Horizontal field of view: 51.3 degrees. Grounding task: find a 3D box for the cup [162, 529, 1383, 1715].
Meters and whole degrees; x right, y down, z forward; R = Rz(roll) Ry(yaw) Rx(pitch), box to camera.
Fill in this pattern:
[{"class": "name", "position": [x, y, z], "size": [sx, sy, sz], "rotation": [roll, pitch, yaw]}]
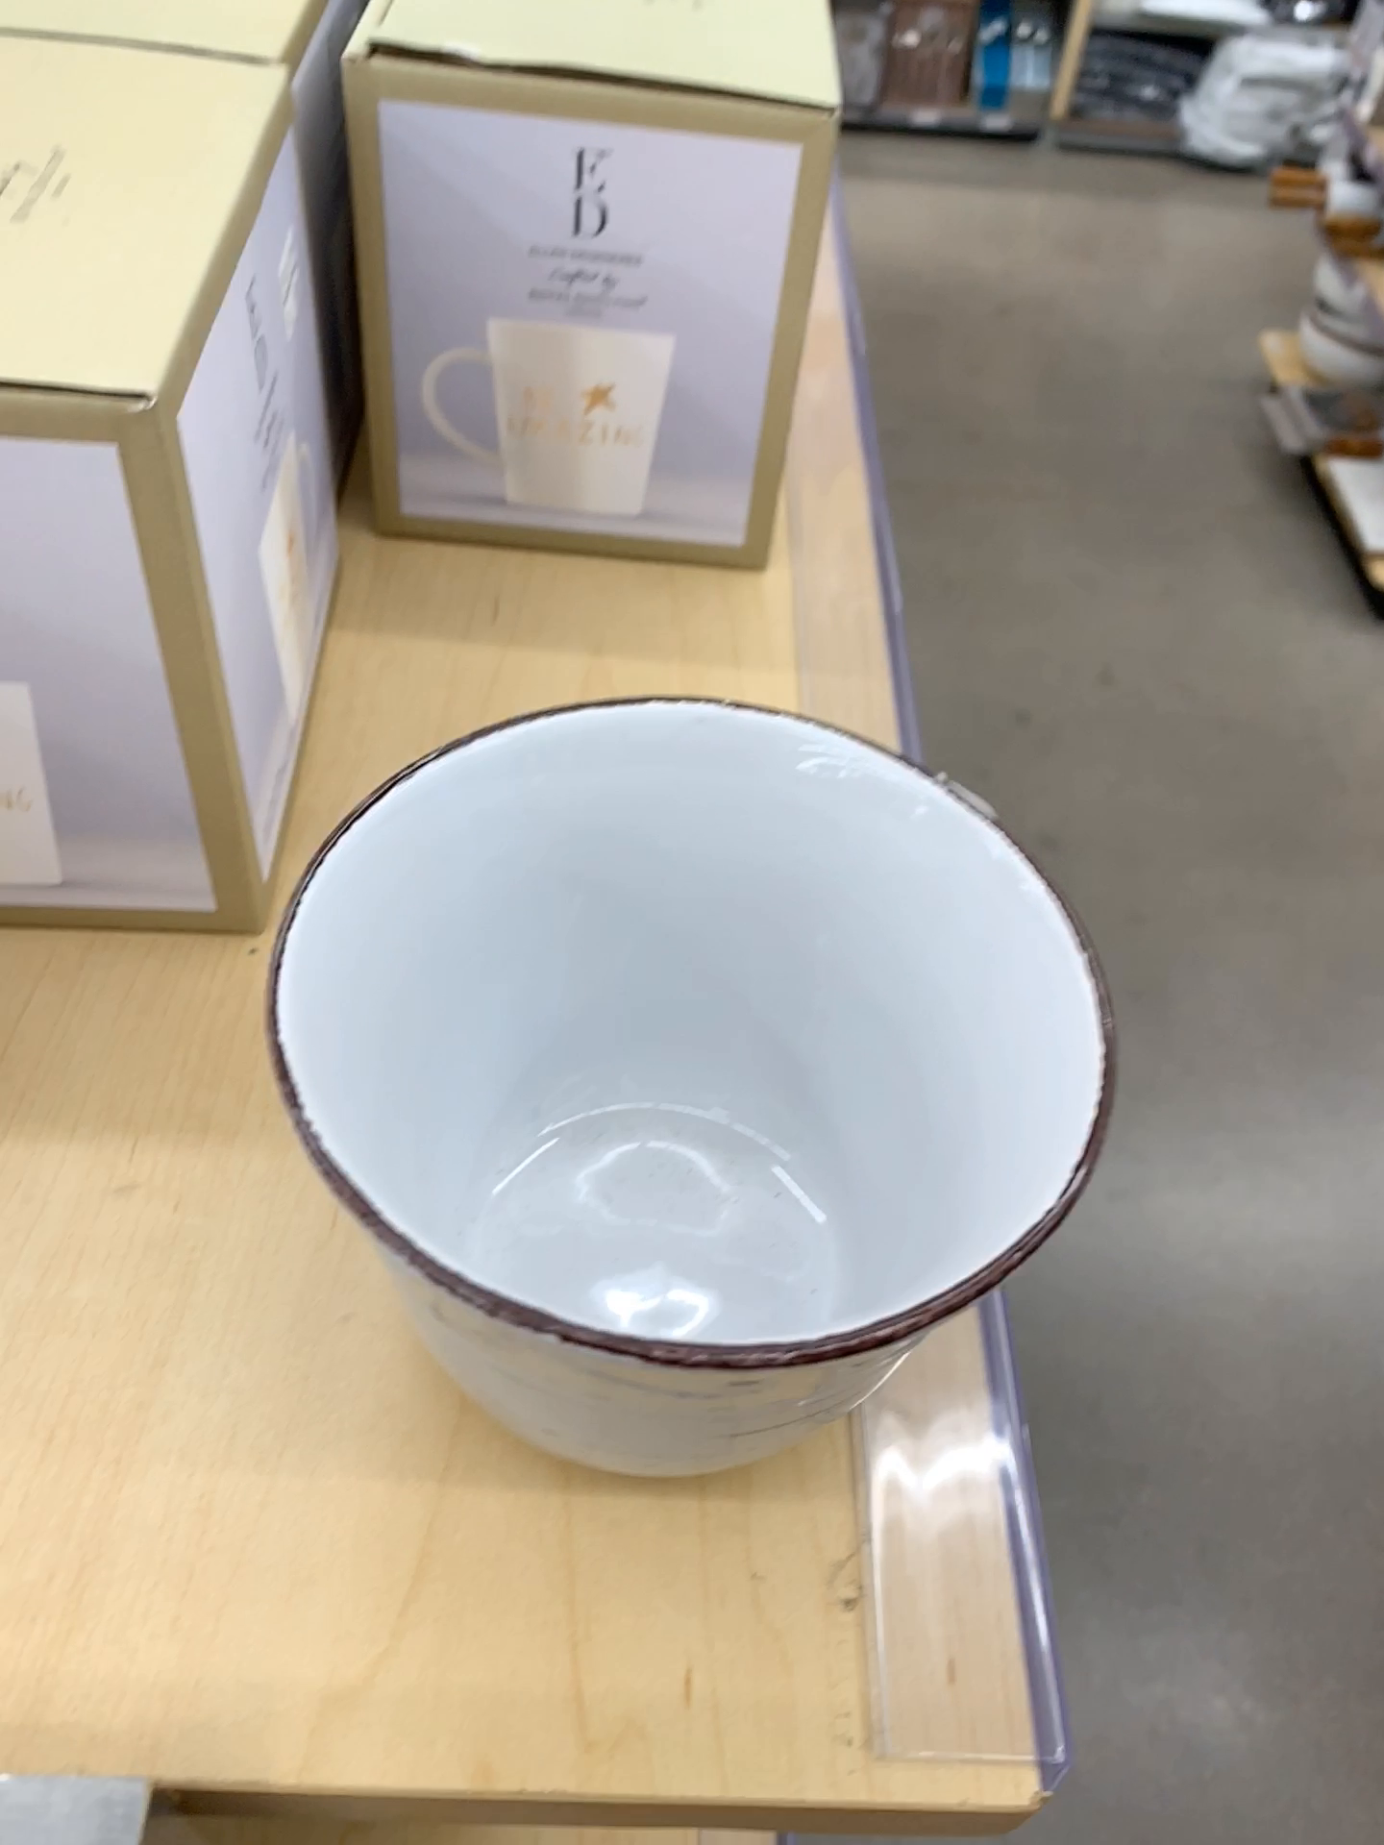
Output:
[{"class": "cup", "position": [0.012, 0.019, 0.222], "size": [0.124, 0.075, 0.114], "rotation": [2, 49, -3]}]
